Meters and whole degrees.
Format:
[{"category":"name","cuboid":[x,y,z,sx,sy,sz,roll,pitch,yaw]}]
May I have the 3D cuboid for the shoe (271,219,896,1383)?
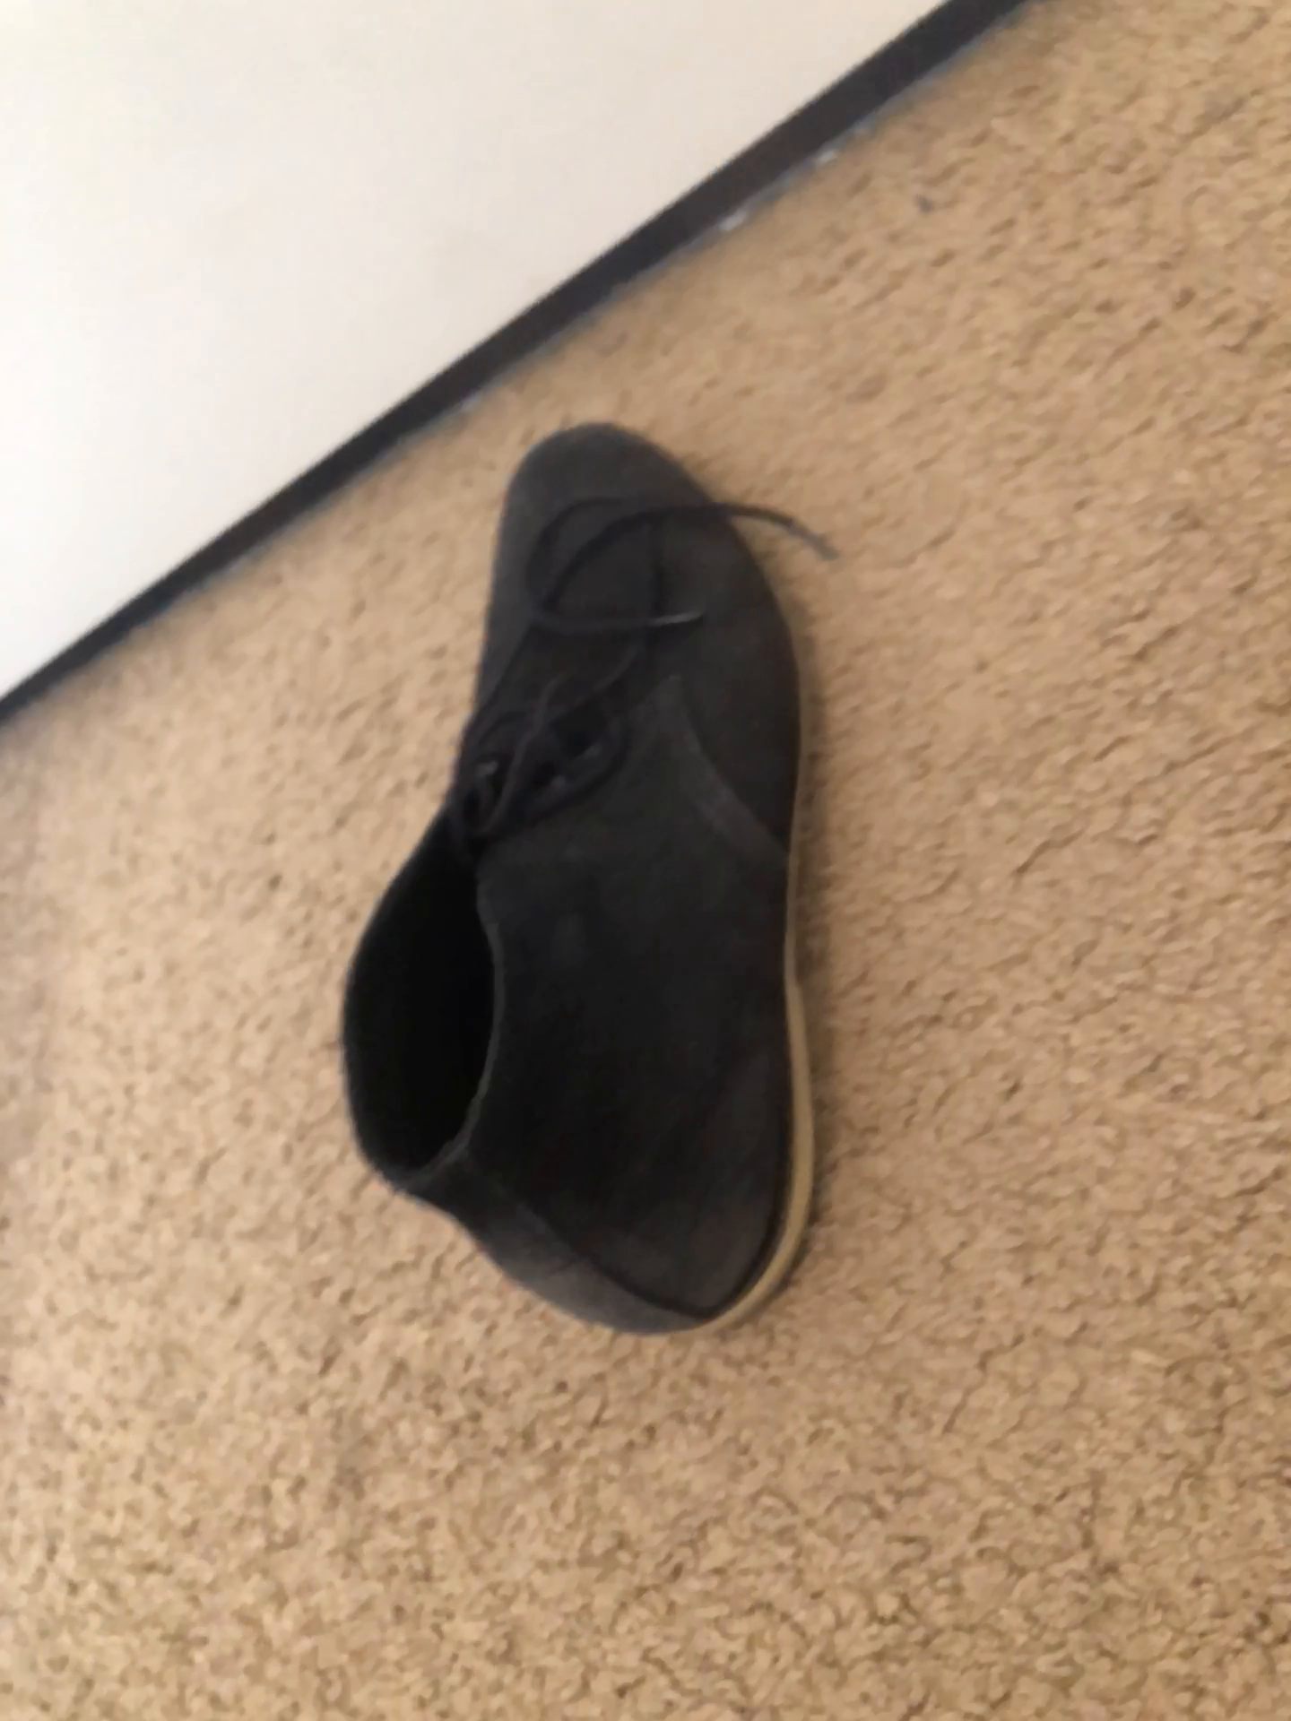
[{"category":"shoe","cuboid":[-0.020,-0.018,0.387,0.103,0.095,0.279,-22,57,31]}]
